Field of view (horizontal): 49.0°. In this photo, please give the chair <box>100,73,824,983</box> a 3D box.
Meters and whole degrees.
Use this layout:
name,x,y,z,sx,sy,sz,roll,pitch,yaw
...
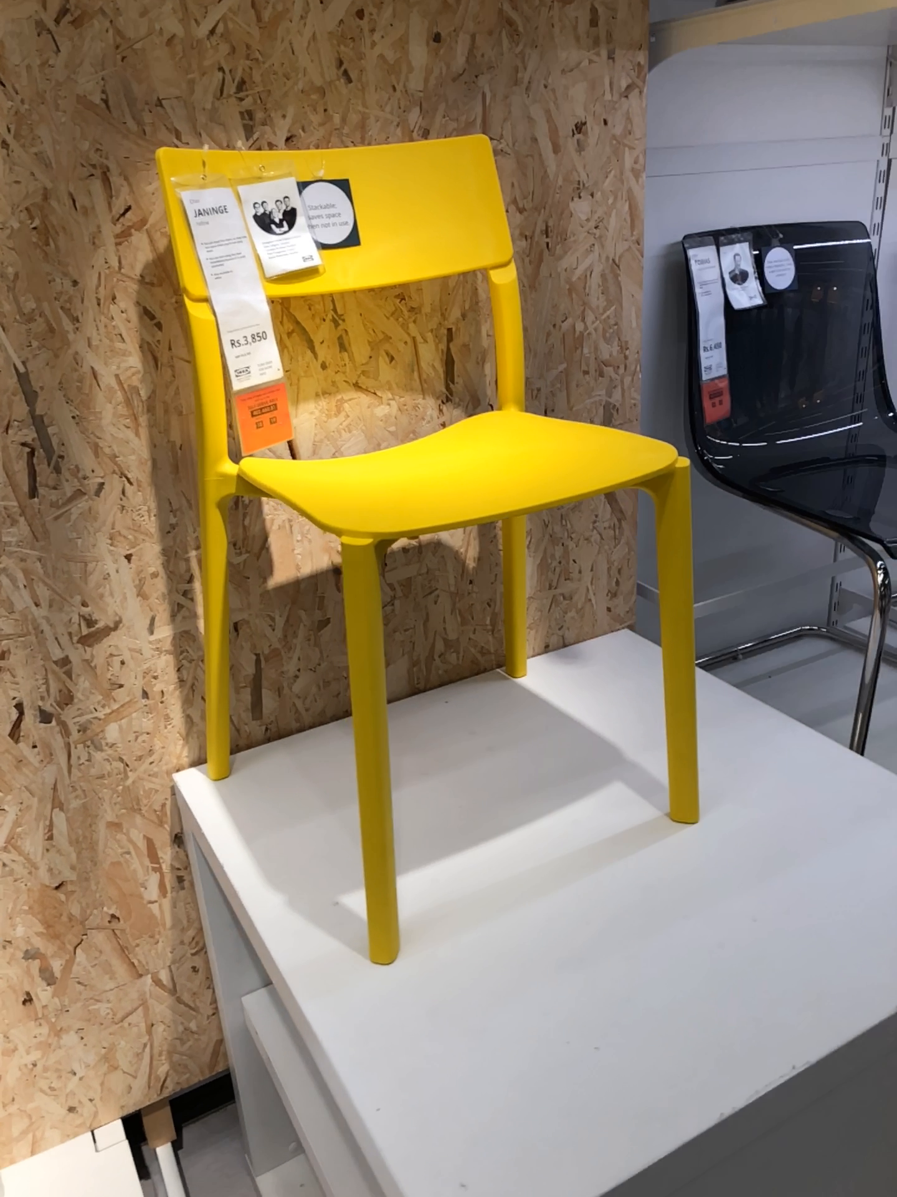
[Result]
name,x,y,z,sx,sy,sz,roll,pitch,yaw
chair,0.002,-0.118,0.988,0.461,0.676,0.462,-16,26,-27
